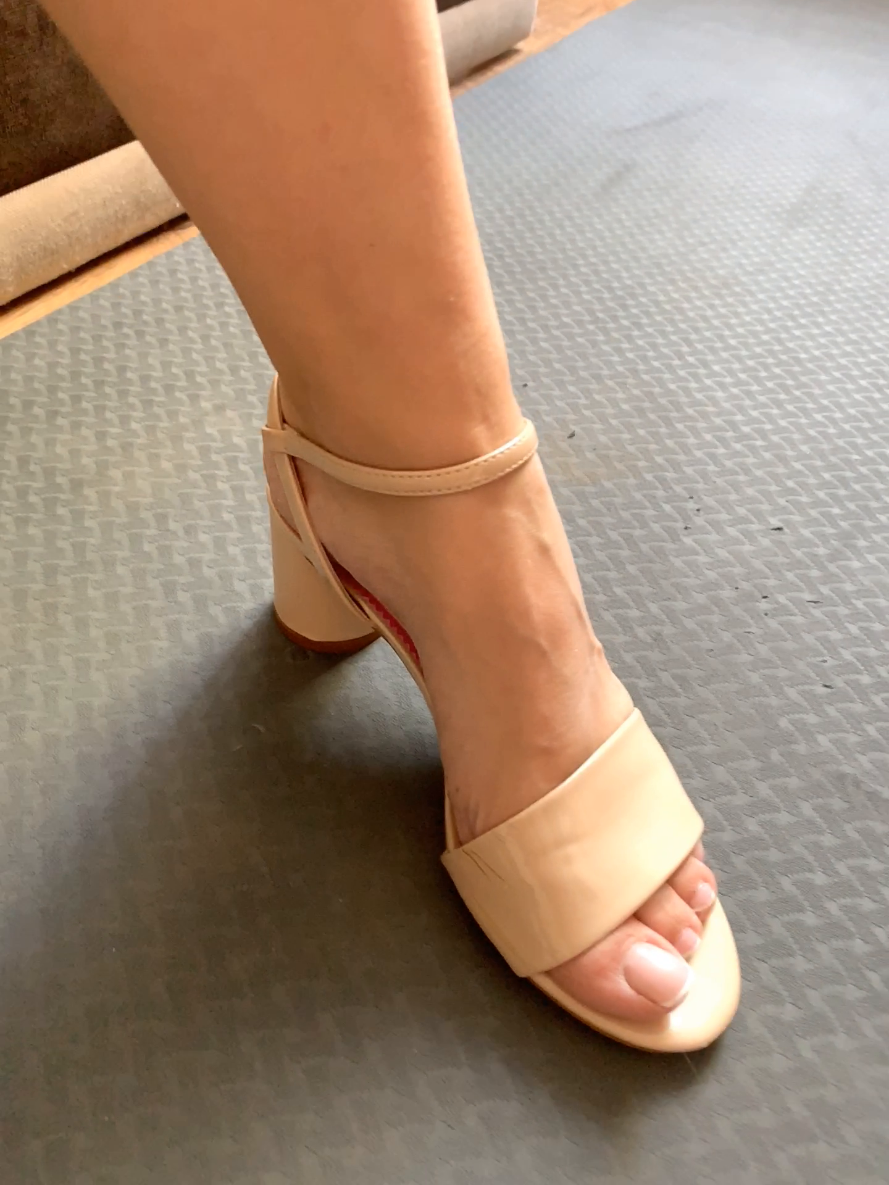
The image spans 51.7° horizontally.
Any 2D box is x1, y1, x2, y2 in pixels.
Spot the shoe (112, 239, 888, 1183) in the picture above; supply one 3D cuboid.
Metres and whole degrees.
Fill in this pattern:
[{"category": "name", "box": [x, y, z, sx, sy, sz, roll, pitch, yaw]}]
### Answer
[{"category": "shoe", "box": [0.009, 0.012, 0.272, 0.090, 0.119, 0.251, -27, 54, -28]}]
